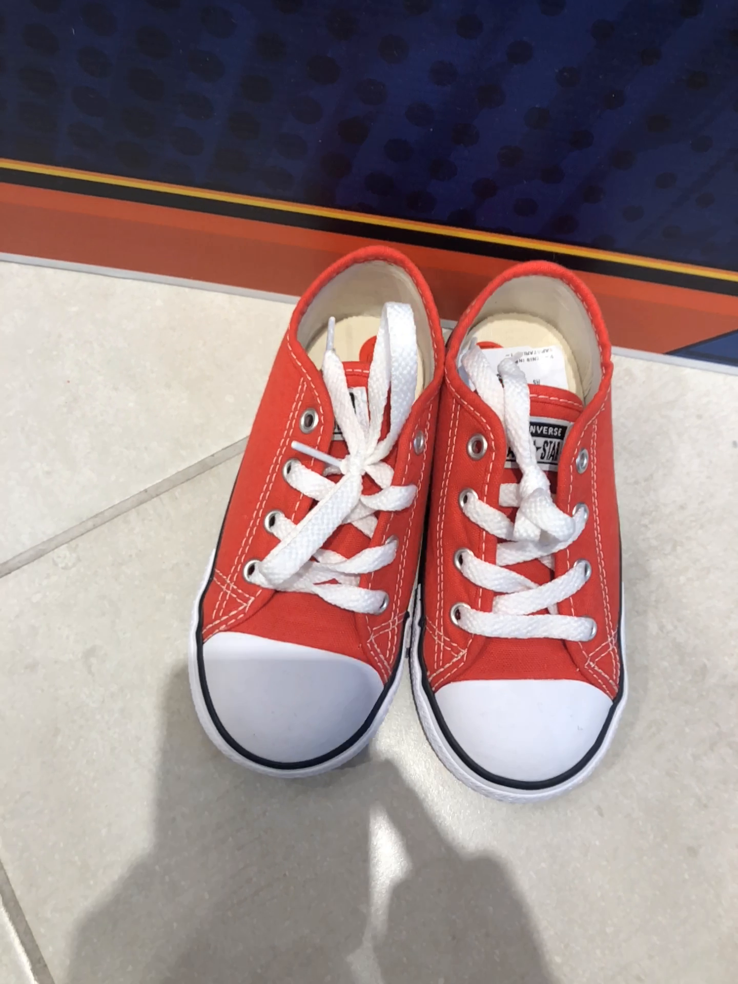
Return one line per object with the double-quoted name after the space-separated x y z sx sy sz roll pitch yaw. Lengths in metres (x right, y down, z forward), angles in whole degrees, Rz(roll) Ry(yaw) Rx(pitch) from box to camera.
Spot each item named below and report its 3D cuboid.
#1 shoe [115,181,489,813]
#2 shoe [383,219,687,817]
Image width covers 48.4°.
-0.015 0.001 0.283 0.080 0.070 0.190 9 72 0 "shoe"
0.047 0.009 0.287 0.080 0.070 0.190 1 73 -2 "shoe"
